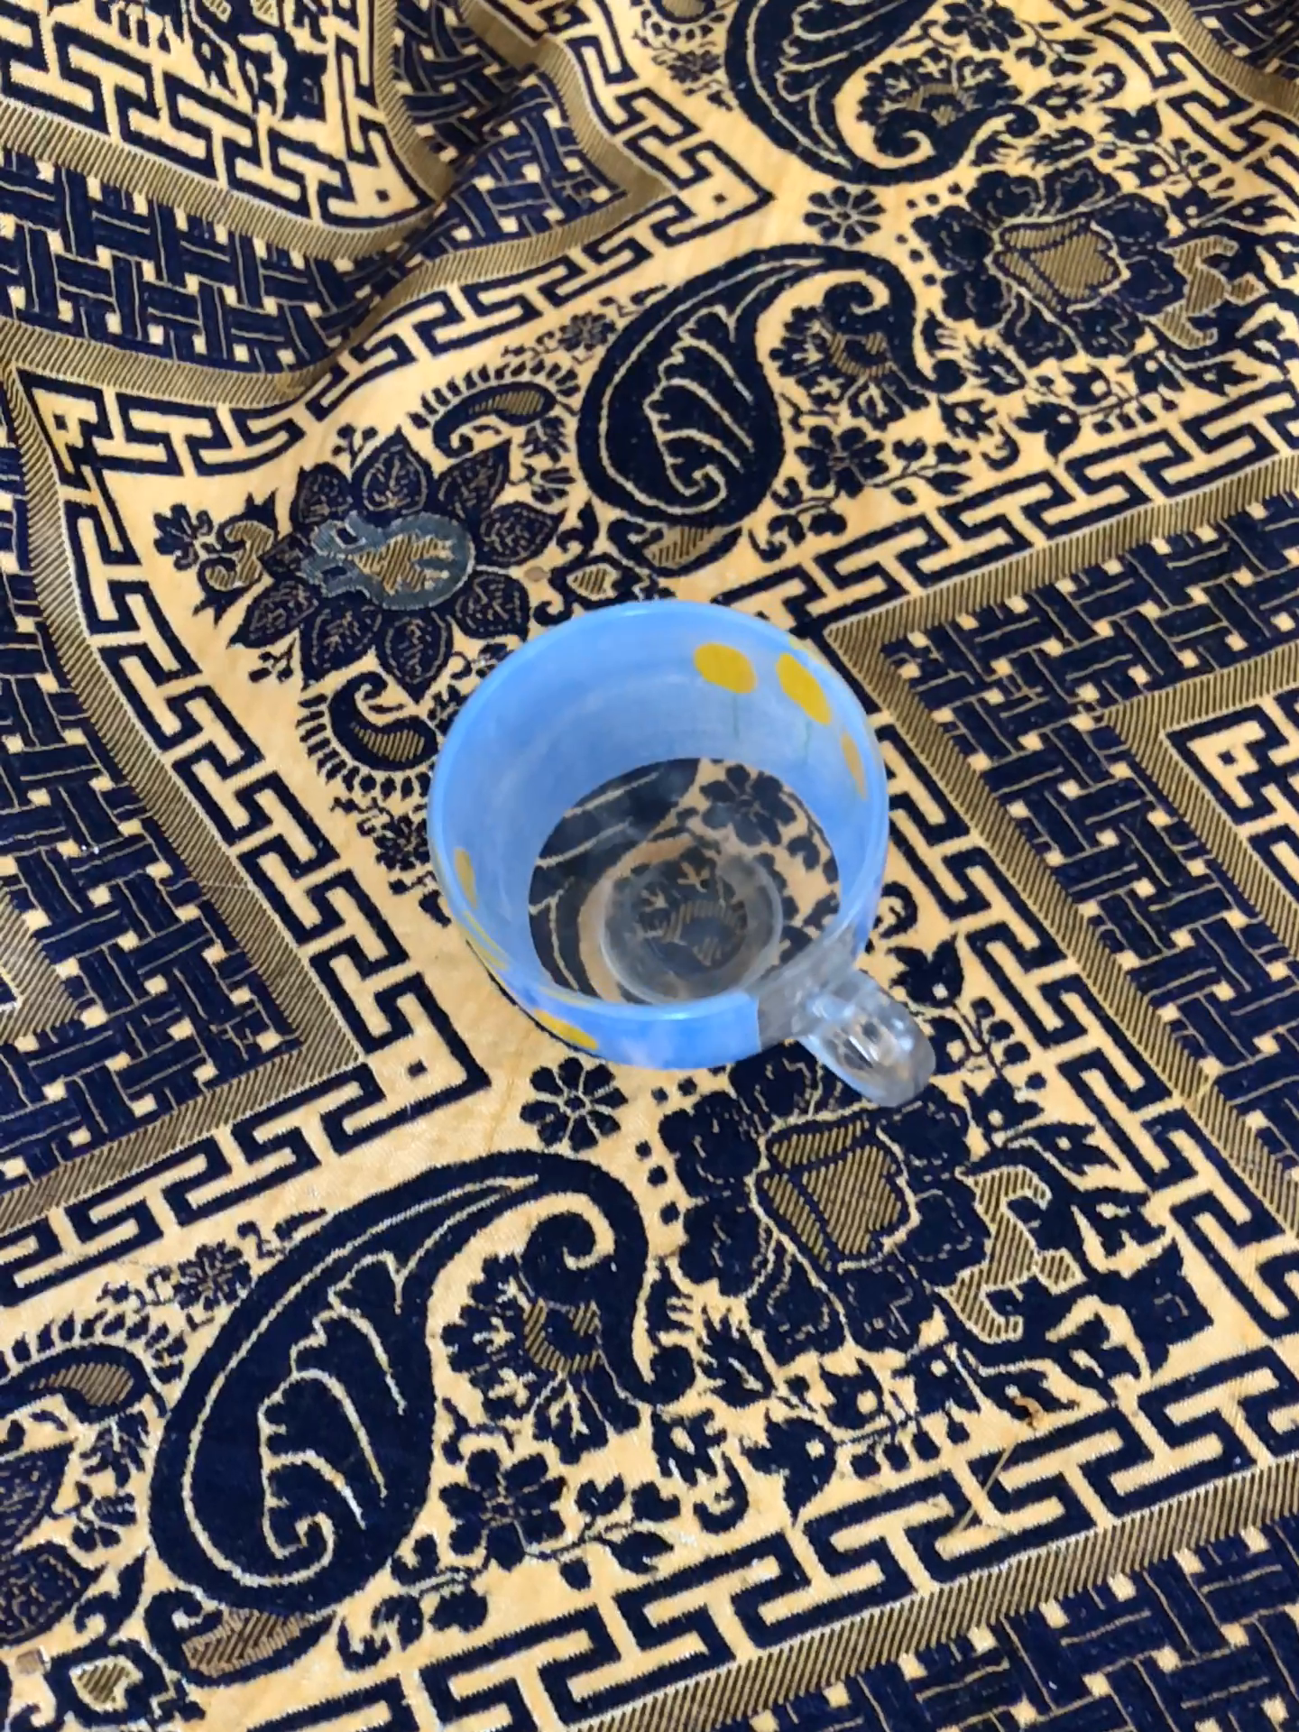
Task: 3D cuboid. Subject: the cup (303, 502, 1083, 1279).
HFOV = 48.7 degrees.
[{"bbox_3d":[0.009,0.005,0.350,0.108,0.072,0.139,-39,68,-13],"label":"cup"}]
